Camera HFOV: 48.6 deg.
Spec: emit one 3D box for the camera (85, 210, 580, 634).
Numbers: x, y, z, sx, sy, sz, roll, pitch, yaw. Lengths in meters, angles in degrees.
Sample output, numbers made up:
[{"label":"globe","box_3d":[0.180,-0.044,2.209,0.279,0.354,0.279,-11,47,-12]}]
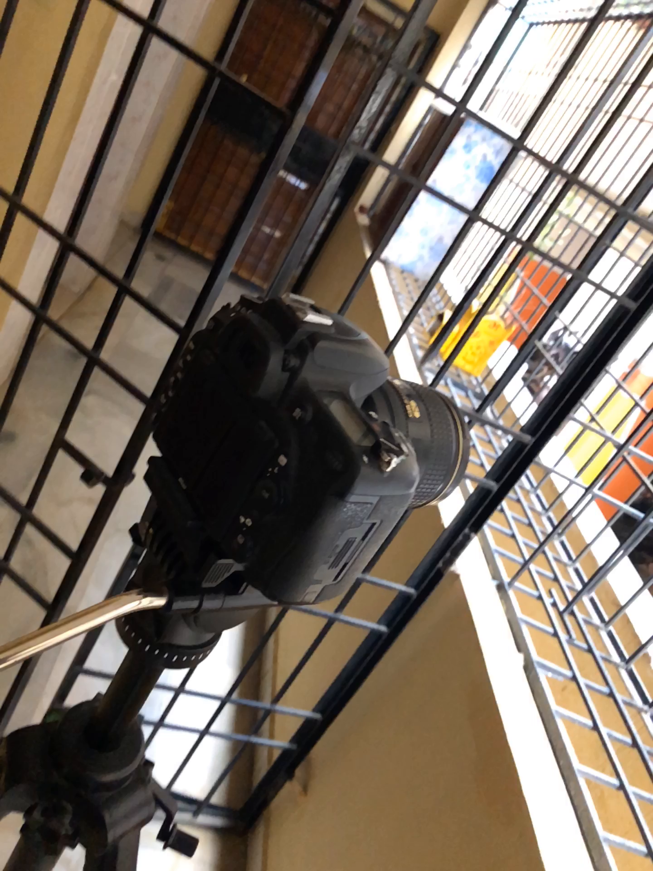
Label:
[{"label":"camera","box_3d":[-0.001,-0.008,0.379,0.171,0.105,0.171,7,34,-45]}]
